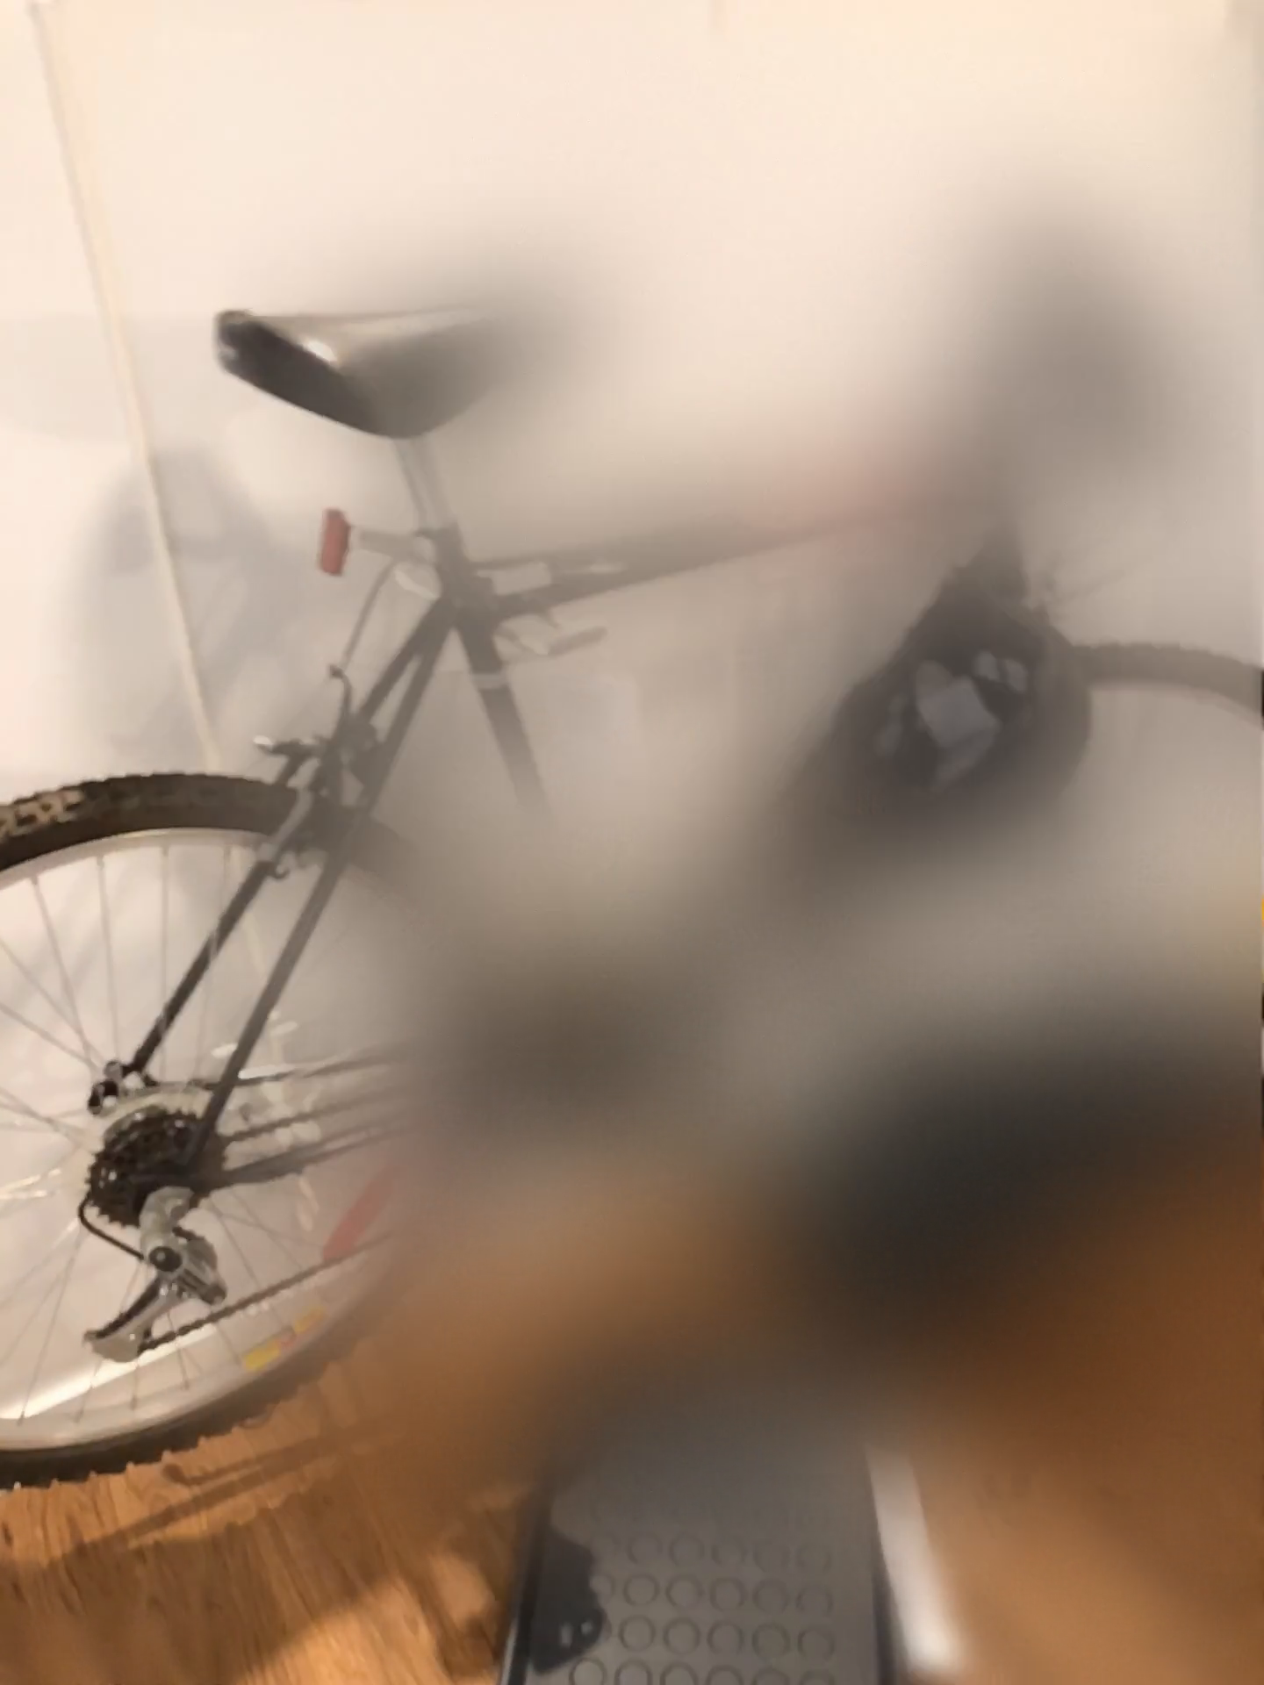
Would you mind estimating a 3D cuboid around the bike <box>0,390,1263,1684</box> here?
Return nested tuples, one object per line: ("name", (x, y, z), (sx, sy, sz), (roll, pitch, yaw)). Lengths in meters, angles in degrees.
("bike", (0.060, 0.082, 1.263), (1.566, 0.846, 0.560), (-10, 29, -23))
